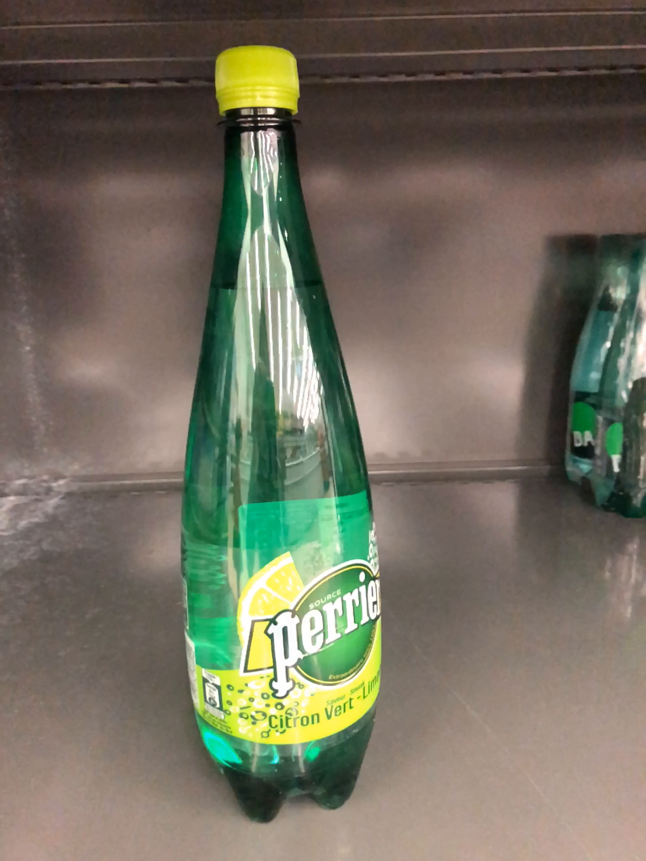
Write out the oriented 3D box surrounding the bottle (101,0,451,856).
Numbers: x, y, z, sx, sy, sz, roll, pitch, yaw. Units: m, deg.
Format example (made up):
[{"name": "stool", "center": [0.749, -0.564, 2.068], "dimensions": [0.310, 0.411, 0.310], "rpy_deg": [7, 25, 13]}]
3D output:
[{"name": "bottle", "center": [-0.016, 0.002, 0.300], "dimensions": [0.100, 0.299, 0.090], "rpy_deg": [-9, 16, -27]}]
